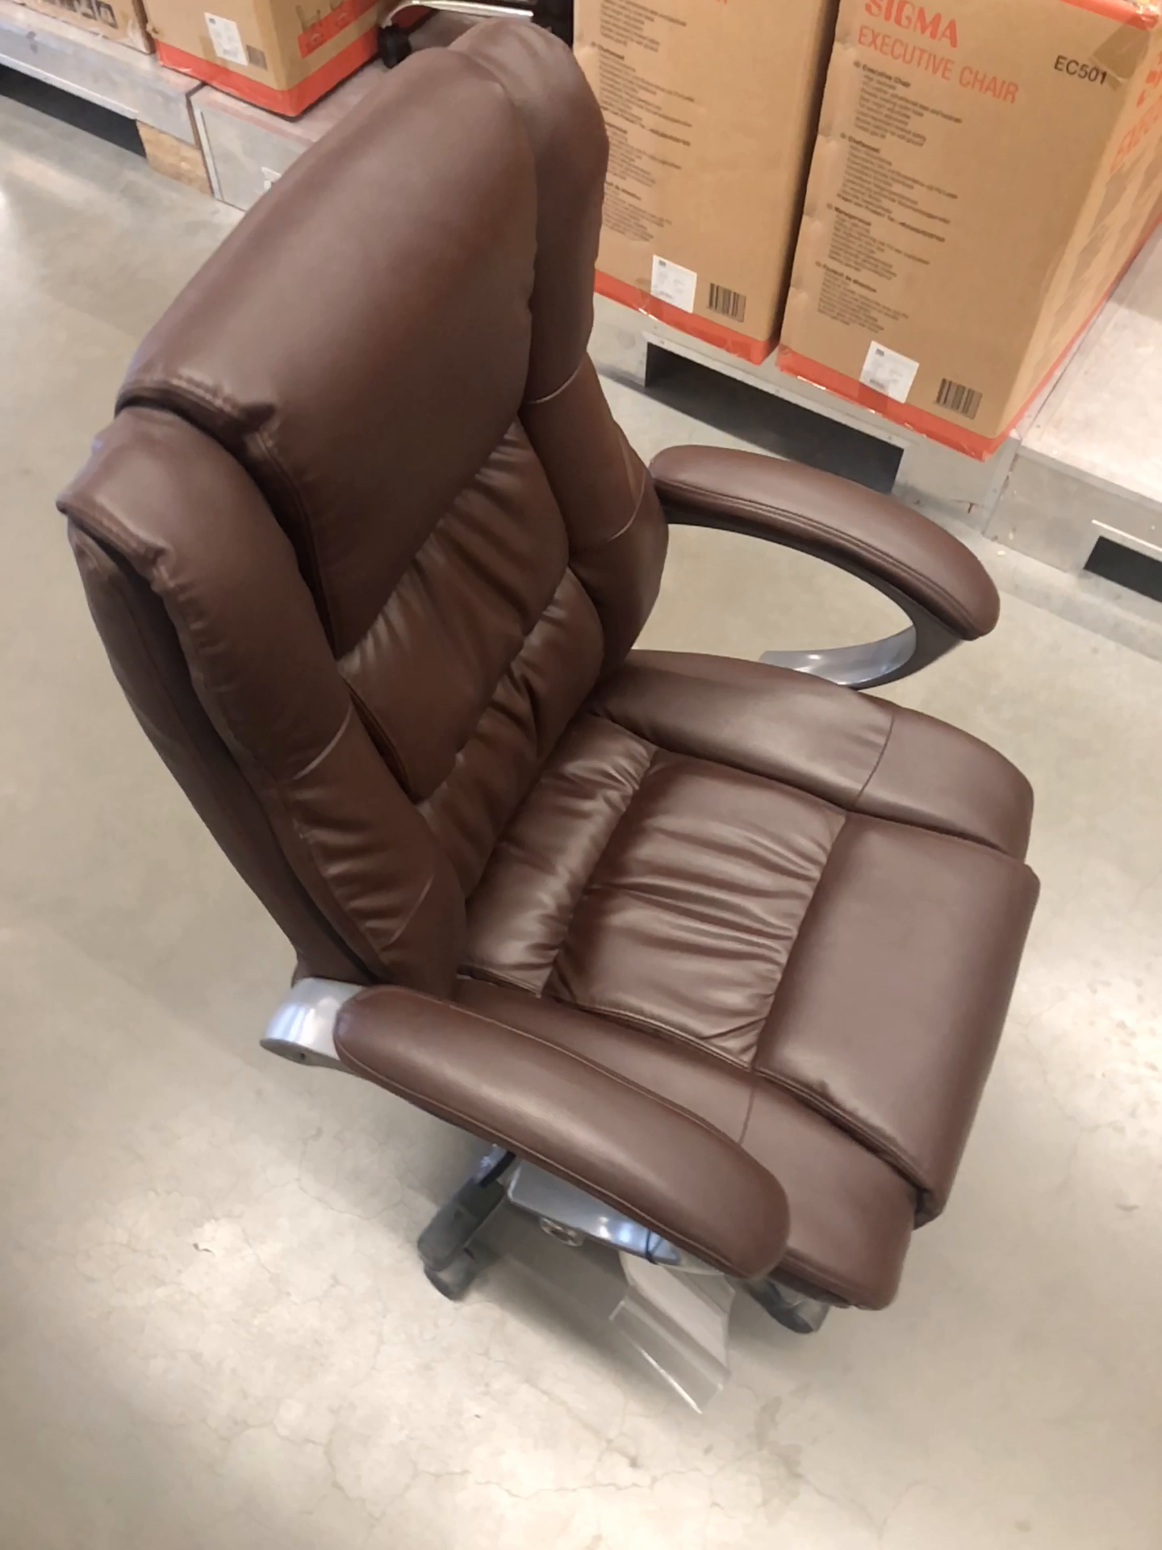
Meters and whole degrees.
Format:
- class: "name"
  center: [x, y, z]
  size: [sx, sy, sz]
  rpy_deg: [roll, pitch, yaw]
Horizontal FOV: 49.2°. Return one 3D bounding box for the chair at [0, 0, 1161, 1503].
- class: "chair"
  center: [0.095, 0.066, 1.059]
  size: [0.650, 1.094, 0.683]
  rpy_deg: [22, 60, 13]
